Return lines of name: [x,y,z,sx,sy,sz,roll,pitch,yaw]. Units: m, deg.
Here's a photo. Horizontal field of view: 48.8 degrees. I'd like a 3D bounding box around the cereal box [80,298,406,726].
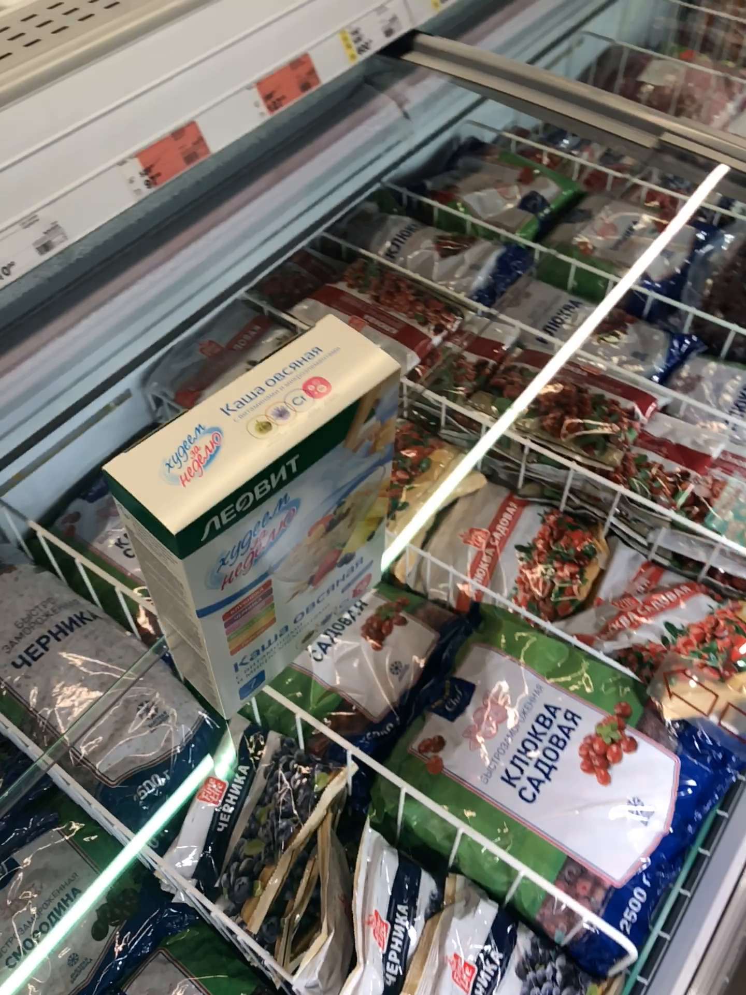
cereal box: [-0.061,0.022,0.482,0.060,0.229,0.150,39,62,22]
